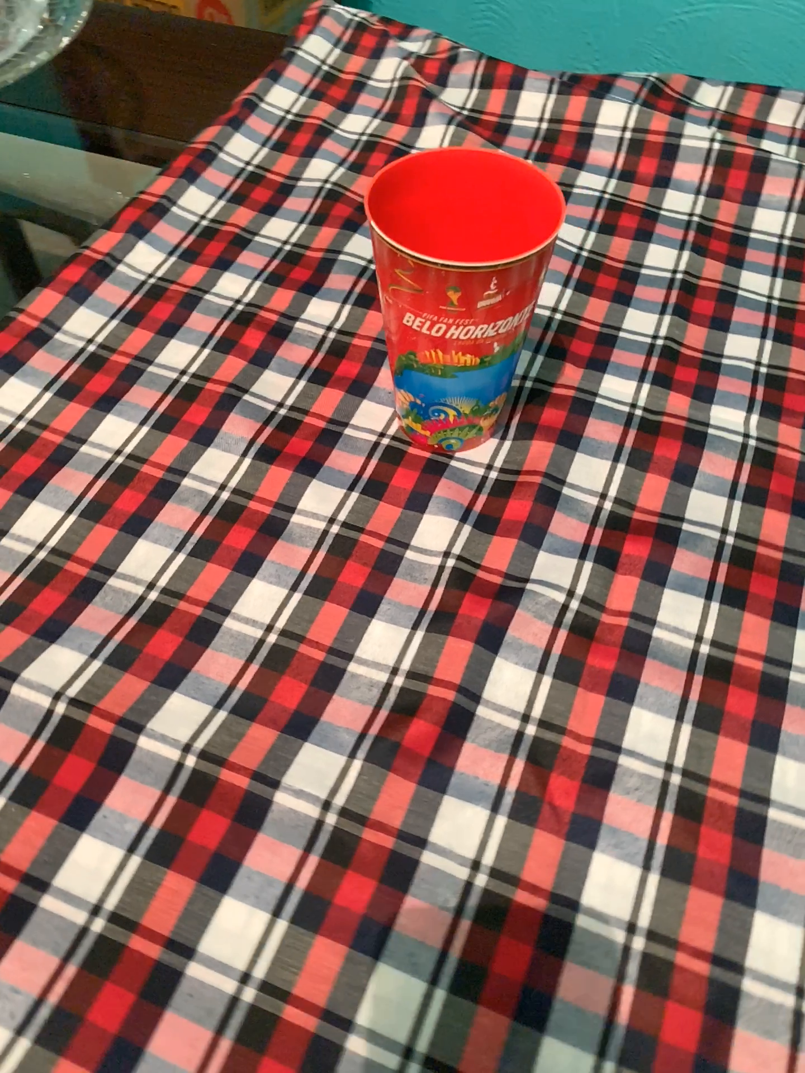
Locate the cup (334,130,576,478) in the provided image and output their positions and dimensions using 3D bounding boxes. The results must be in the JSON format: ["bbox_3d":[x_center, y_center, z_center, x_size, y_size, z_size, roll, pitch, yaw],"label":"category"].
[{"bbox_3d":[0.027,-0.115,0.421,0.100,0.130,0.100,0,54,0],"label":"cup"}]
